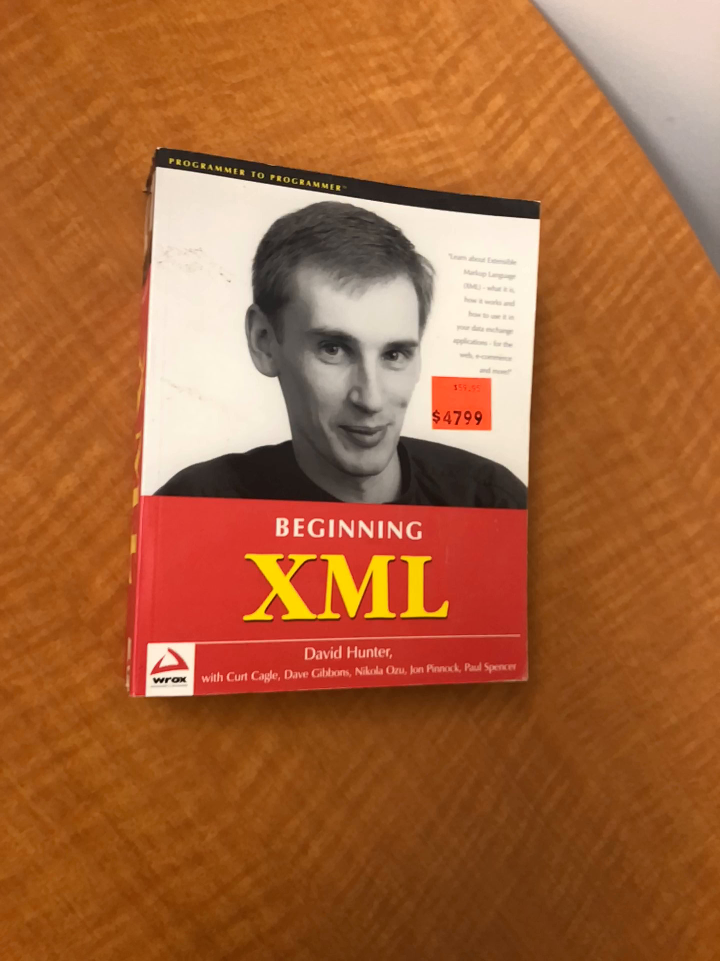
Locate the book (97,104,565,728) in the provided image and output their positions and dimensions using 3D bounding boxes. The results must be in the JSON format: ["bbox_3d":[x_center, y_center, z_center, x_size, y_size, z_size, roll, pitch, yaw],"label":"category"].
[{"bbox_3d":[-0.010,-0.023,0.410,0.220,0.070,0.270,4,83,-19],"label":"book"}]
